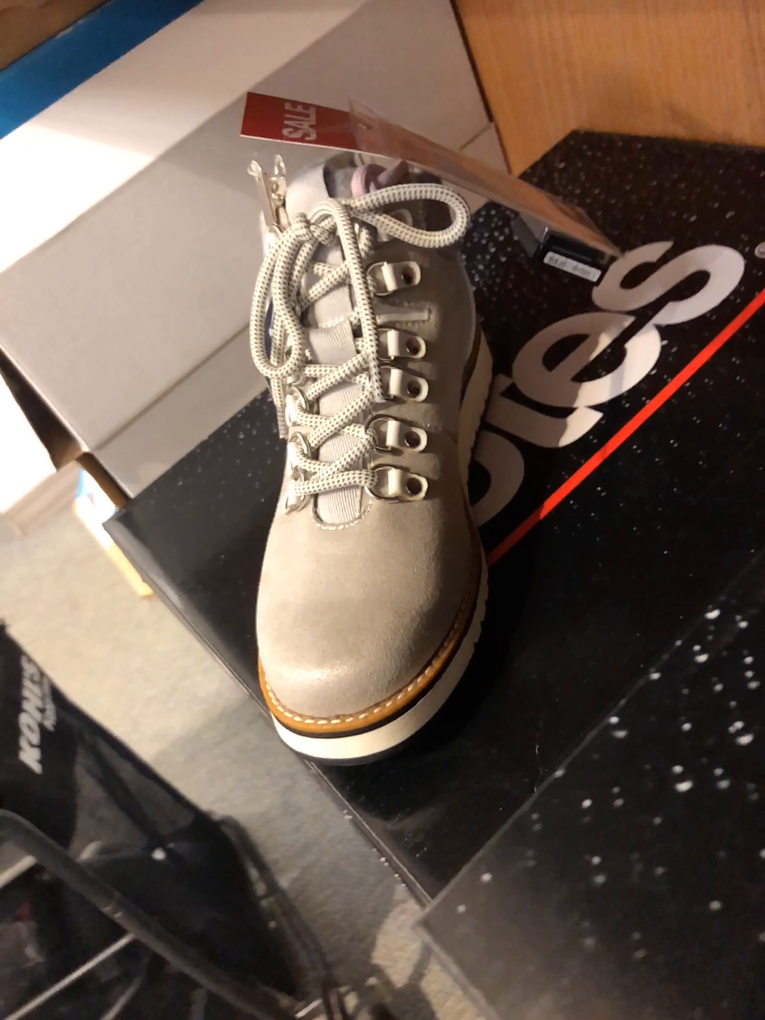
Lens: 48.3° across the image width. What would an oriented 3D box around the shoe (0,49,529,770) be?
[{"bbox_3d":[-0.018,-0.041,0.318,0.099,0.134,0.228,-8,46,23],"label":"shoe"}]
